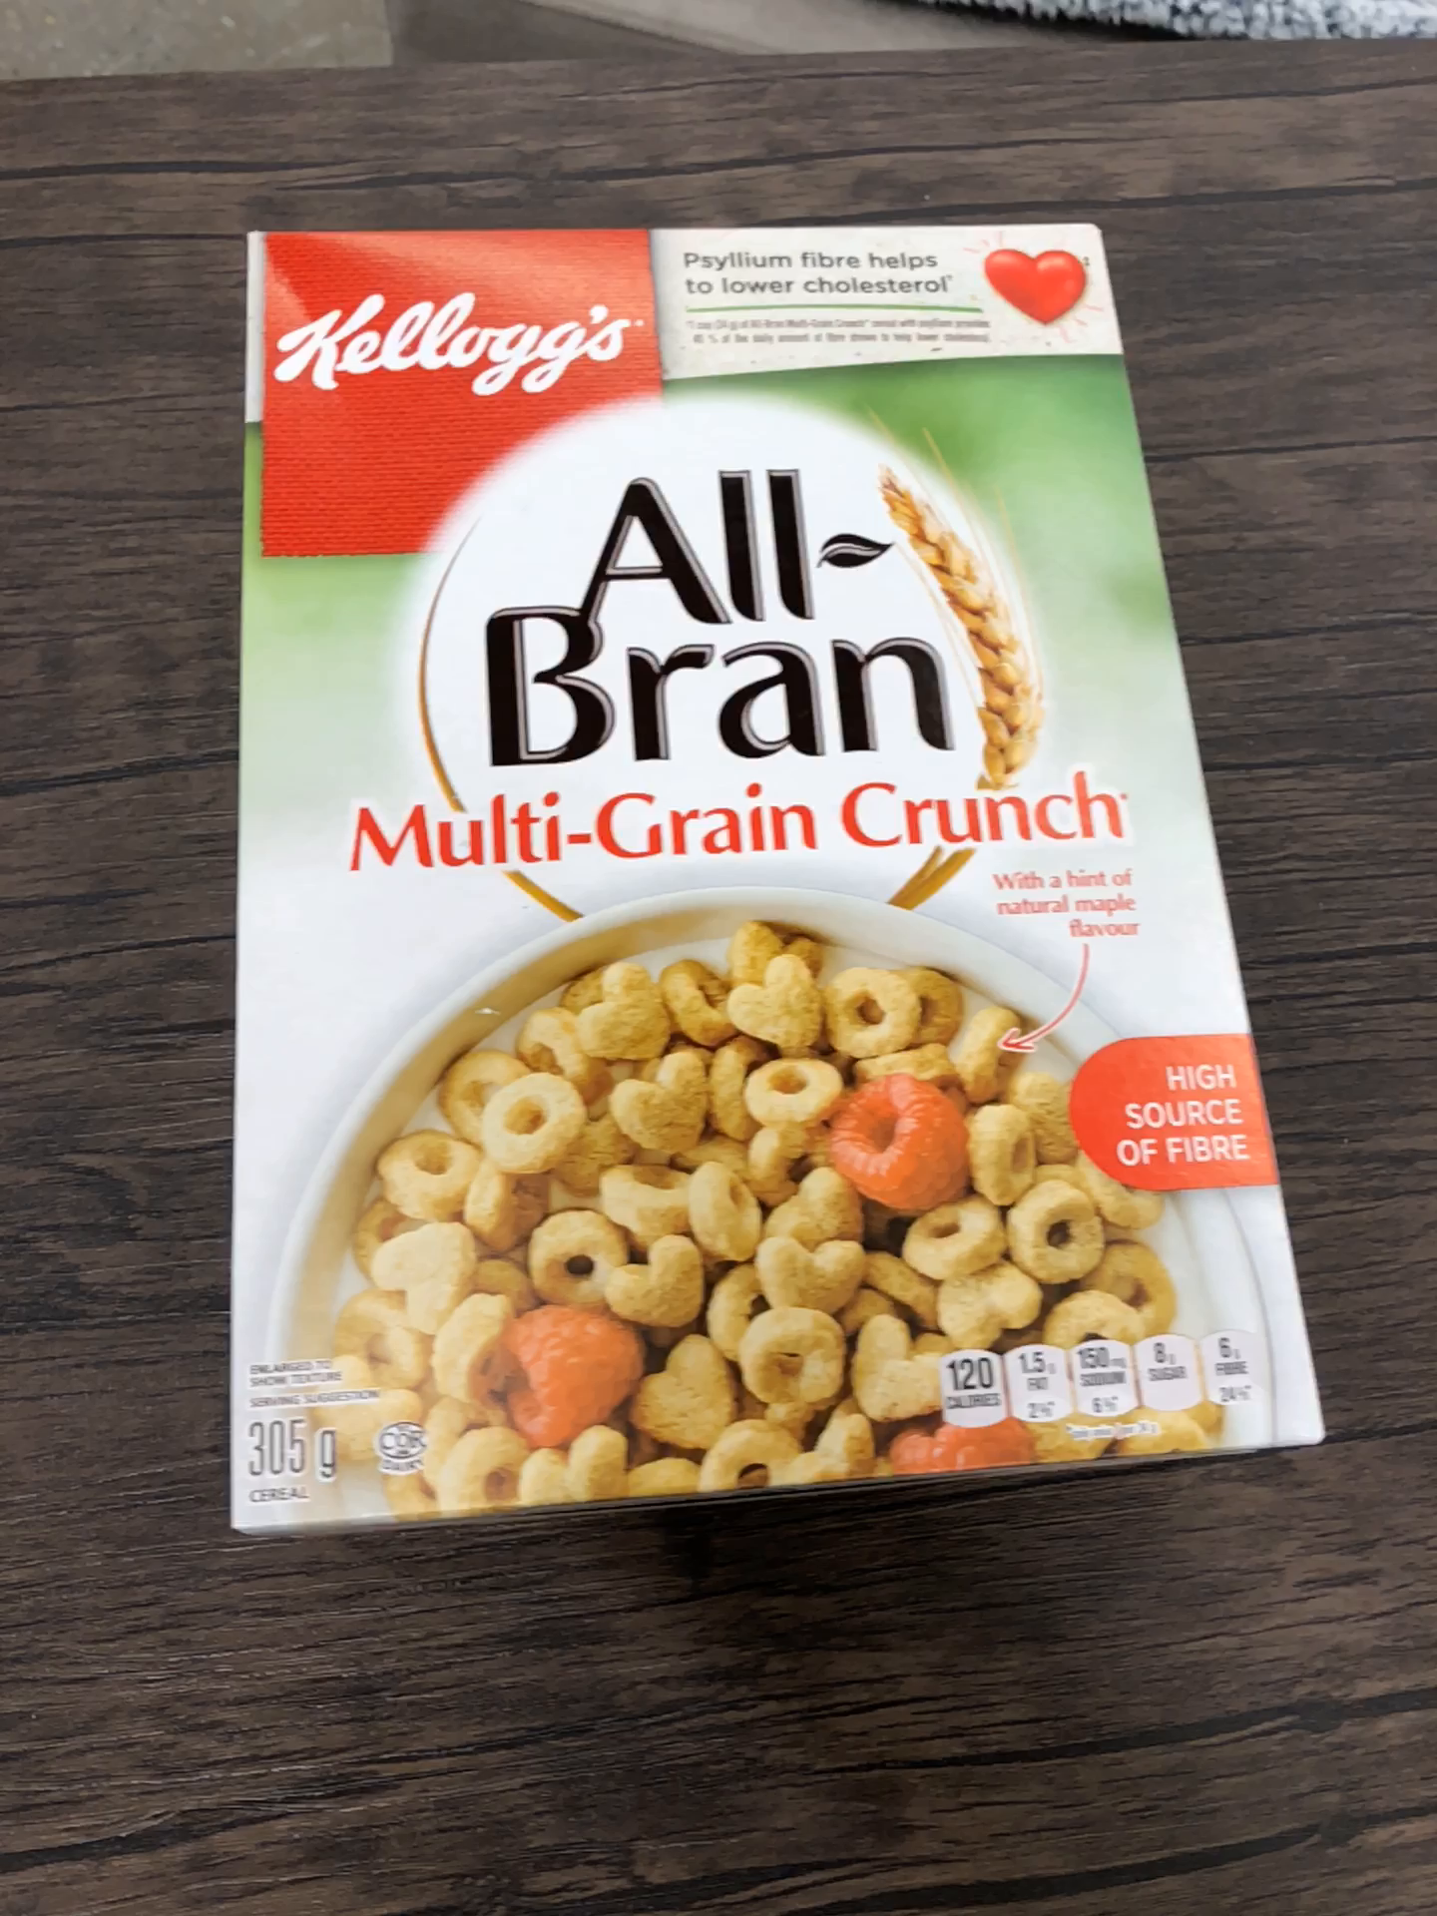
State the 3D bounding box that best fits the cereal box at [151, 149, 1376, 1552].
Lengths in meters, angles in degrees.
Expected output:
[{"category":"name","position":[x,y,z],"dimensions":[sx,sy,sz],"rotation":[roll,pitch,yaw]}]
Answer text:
[{"category":"cereal box","position":[-0.003,-0.036,0.356],"dimensions":[0.210,0.070,0.300],"rotation":[-3,70,-5]}]
